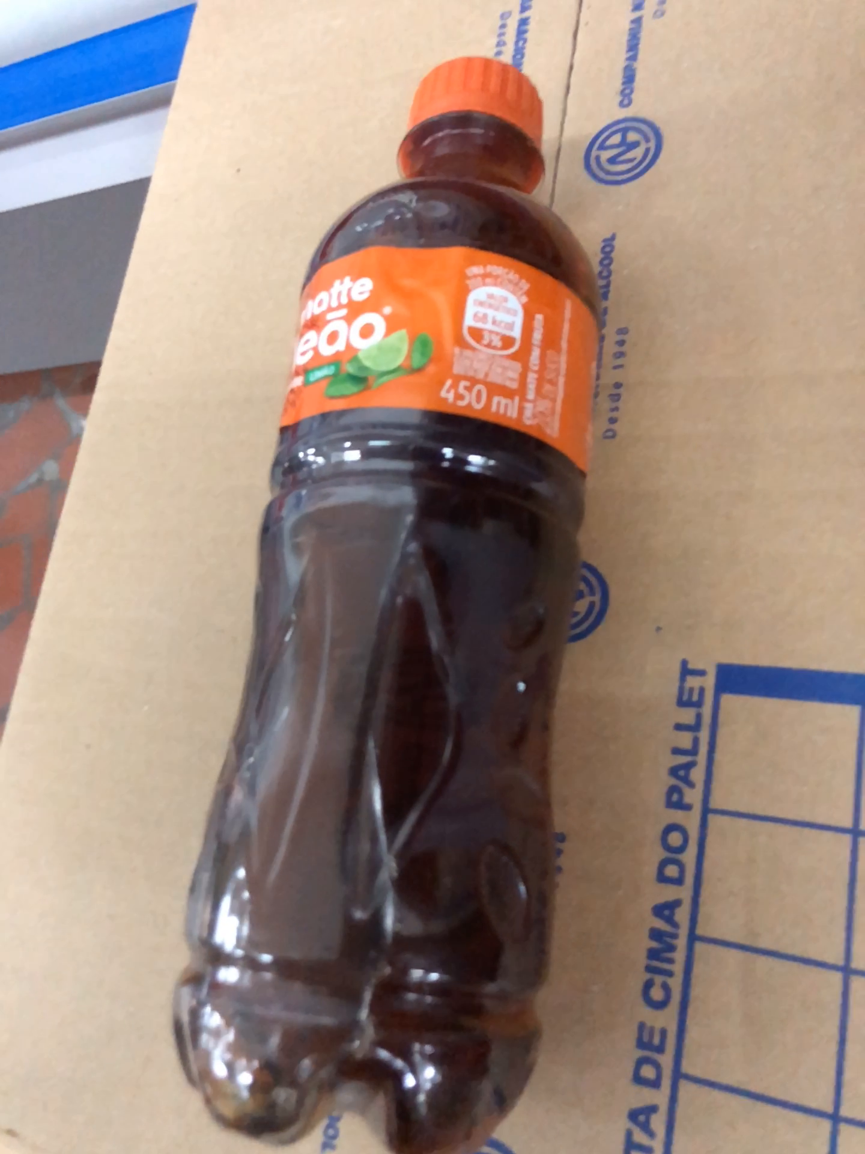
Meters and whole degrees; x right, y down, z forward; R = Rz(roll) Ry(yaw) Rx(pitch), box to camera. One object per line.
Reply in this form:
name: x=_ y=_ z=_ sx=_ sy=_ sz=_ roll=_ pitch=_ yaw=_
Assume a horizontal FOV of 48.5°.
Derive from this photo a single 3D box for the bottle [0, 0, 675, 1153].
bottle: x=-0.005 y=-0.008 z=0.177 sx=0.070 sy=0.060 sz=0.220 roll=1 pitch=73 yaw=26
